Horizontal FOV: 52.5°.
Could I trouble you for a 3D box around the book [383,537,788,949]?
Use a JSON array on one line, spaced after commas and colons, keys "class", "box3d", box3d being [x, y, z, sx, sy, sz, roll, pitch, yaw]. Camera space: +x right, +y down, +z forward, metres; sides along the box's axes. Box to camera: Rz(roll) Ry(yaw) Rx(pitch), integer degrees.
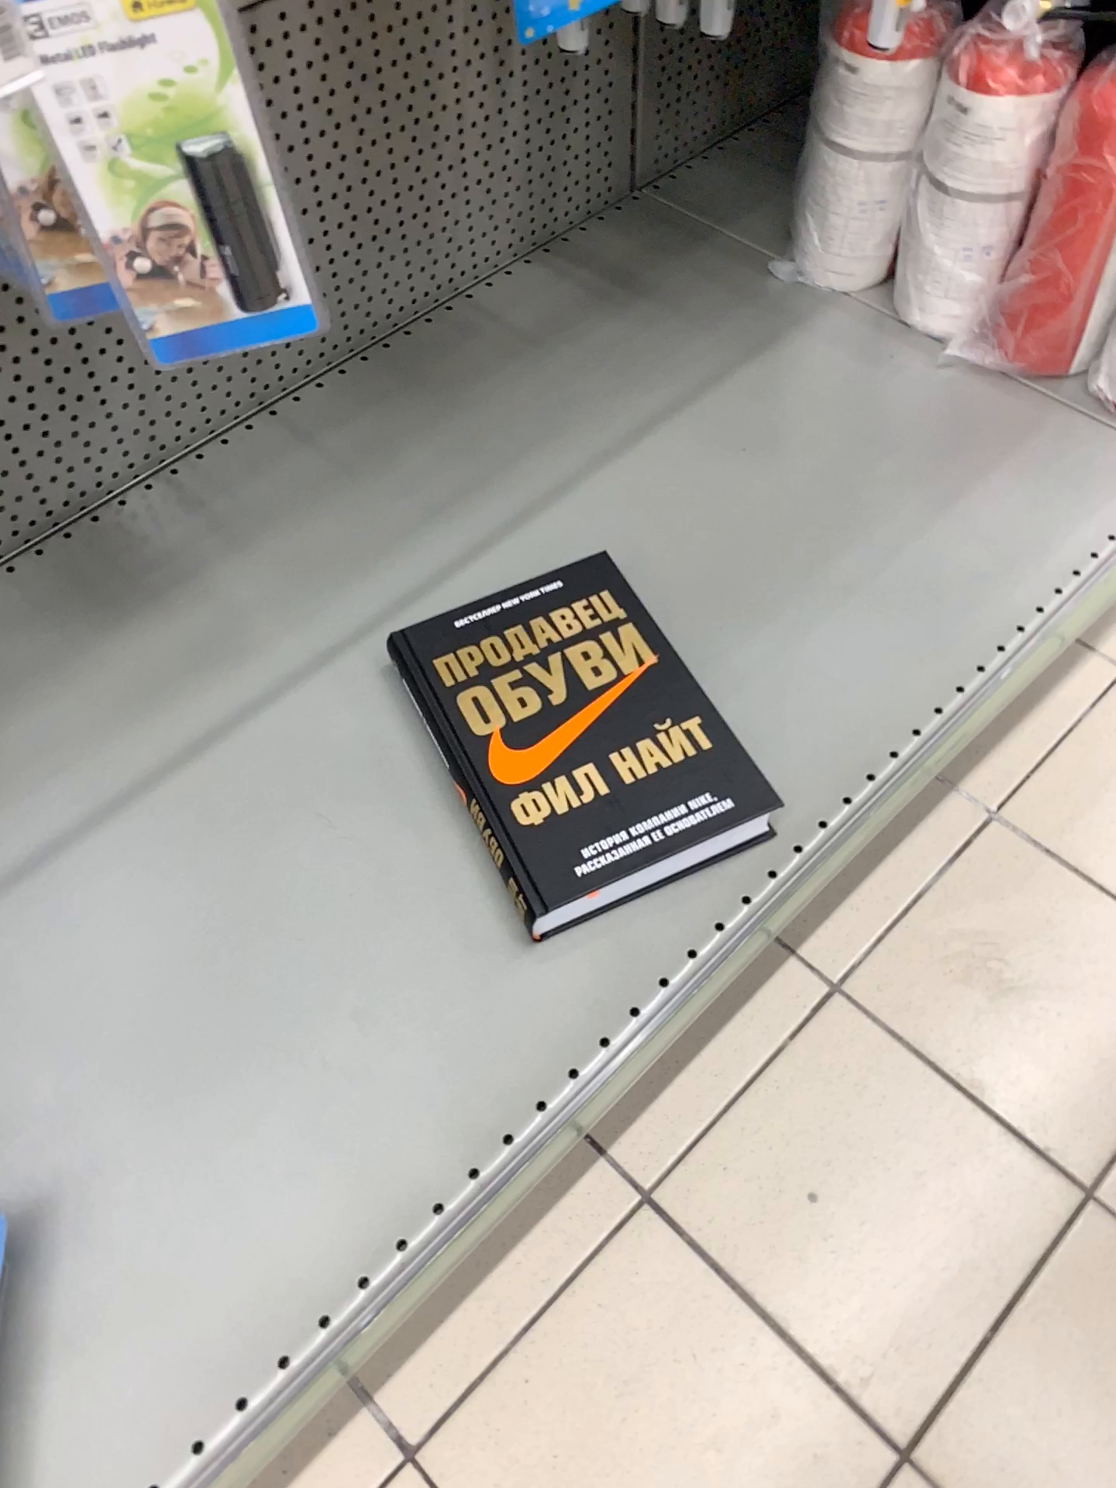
[{"class": "book", "box3d": [0.010, -0.013, 0.743, 0.166, 0.049, 0.250, -22, 56, -13]}]
